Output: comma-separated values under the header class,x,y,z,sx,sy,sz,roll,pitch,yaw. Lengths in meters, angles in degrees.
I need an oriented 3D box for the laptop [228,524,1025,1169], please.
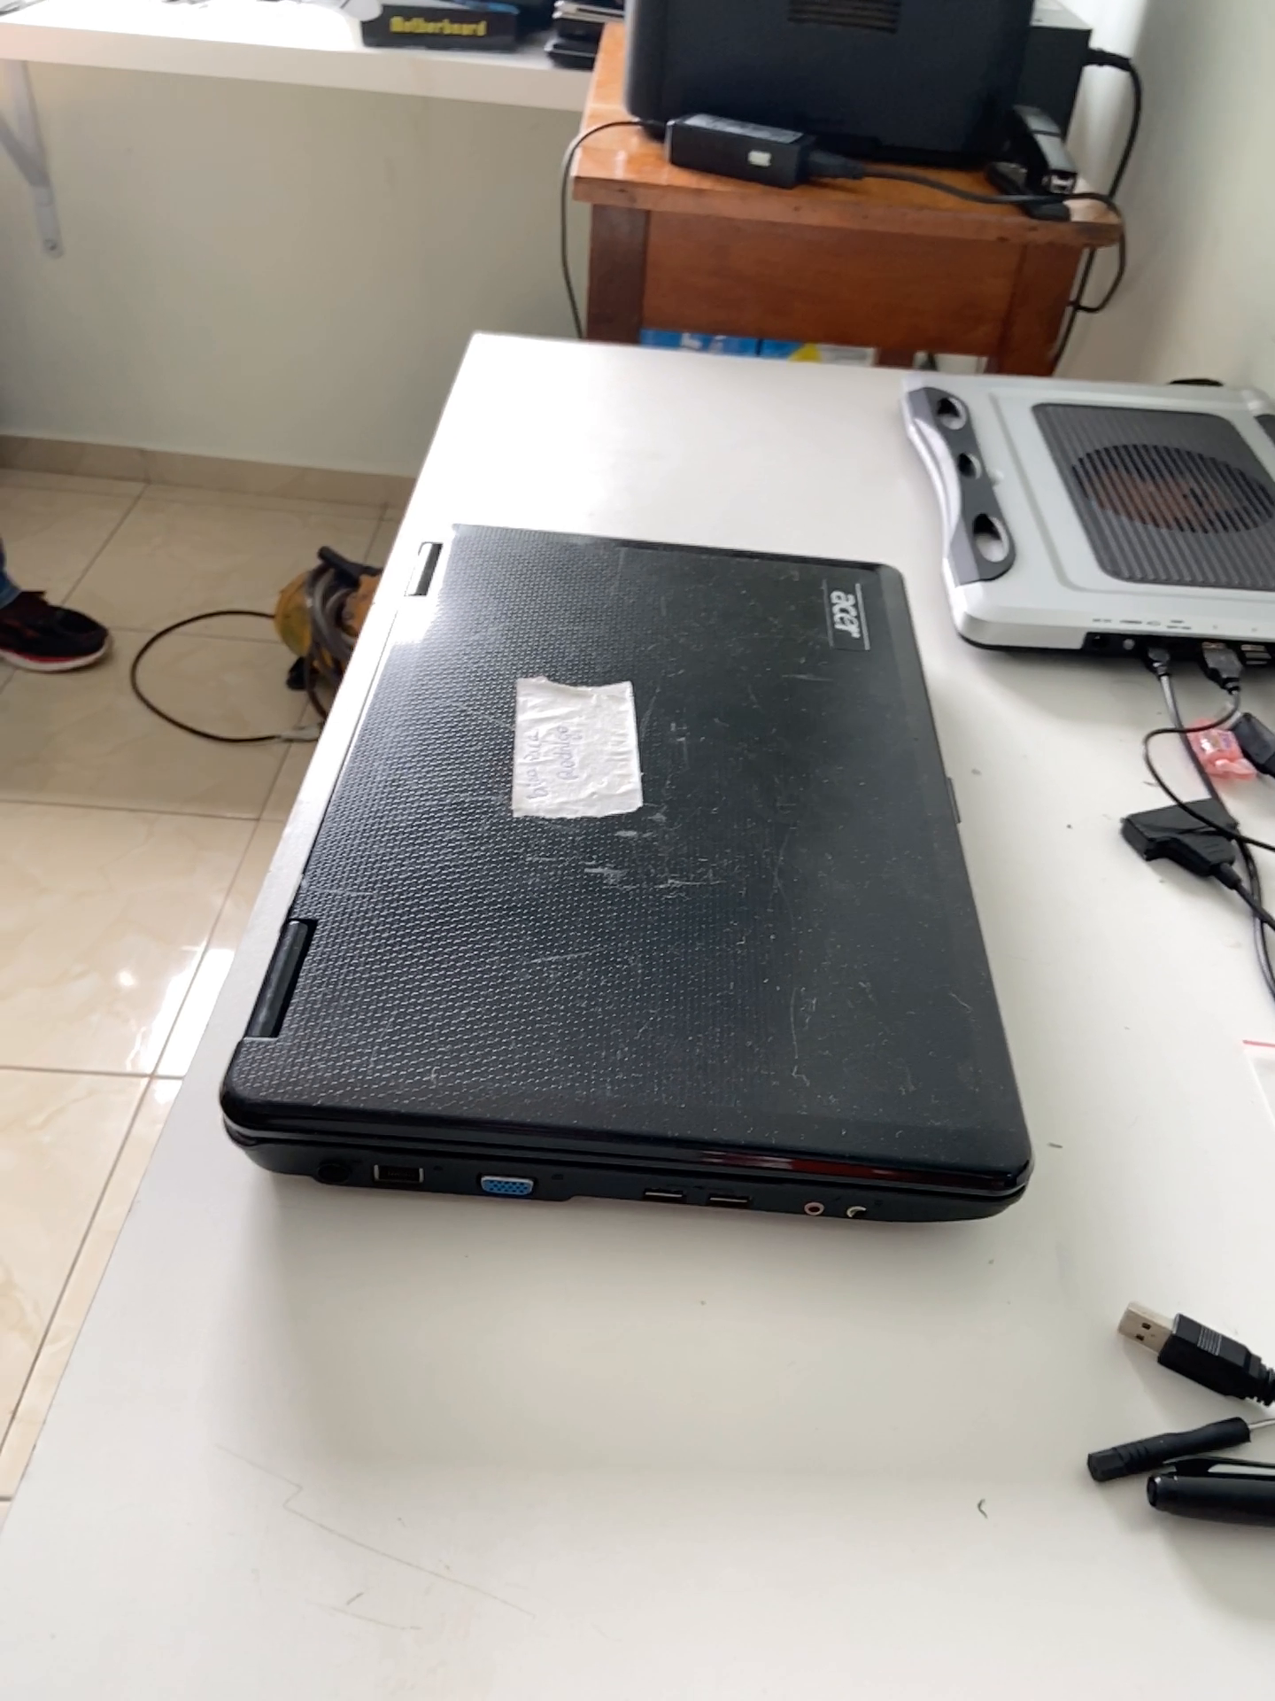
class,x,y,z,sx,sy,sz,roll,pitch,yaw
laptop,0.007,-0.034,0.528,0.238,0.005,0.359,6,41,-1
